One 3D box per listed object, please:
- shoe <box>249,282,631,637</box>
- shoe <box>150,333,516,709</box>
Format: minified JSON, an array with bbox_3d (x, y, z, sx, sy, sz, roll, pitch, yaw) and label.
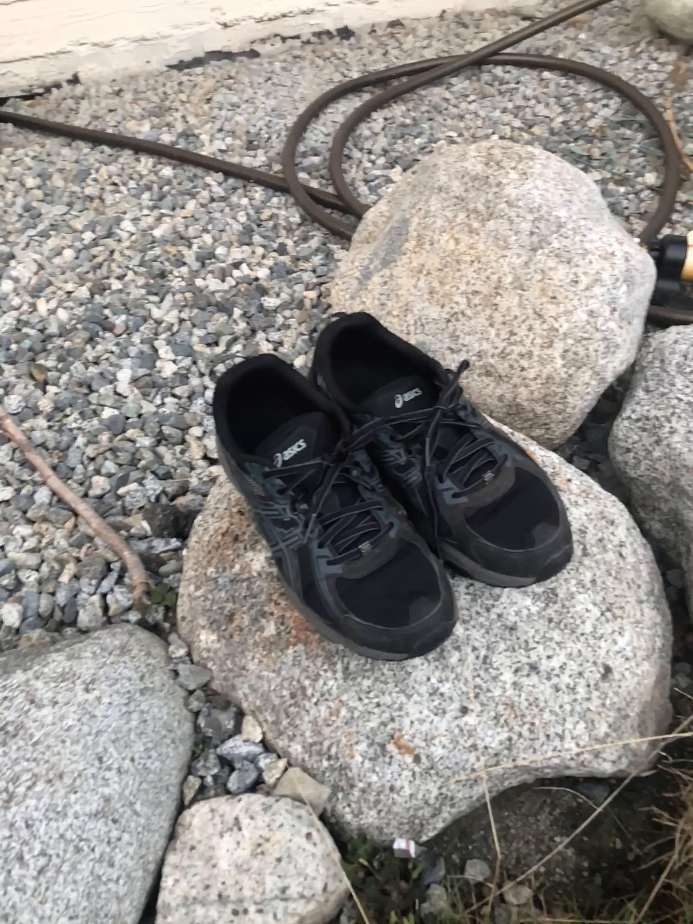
[{"bbox_3d":[0.058,-0.019,0.606,0.120,0.099,0.292,-31,52,-23],"label":"shoe"},{"bbox_3d":[-0.021,0.029,0.584,0.120,0.099,0.282,-31,52,-23],"label":"shoe"}]
